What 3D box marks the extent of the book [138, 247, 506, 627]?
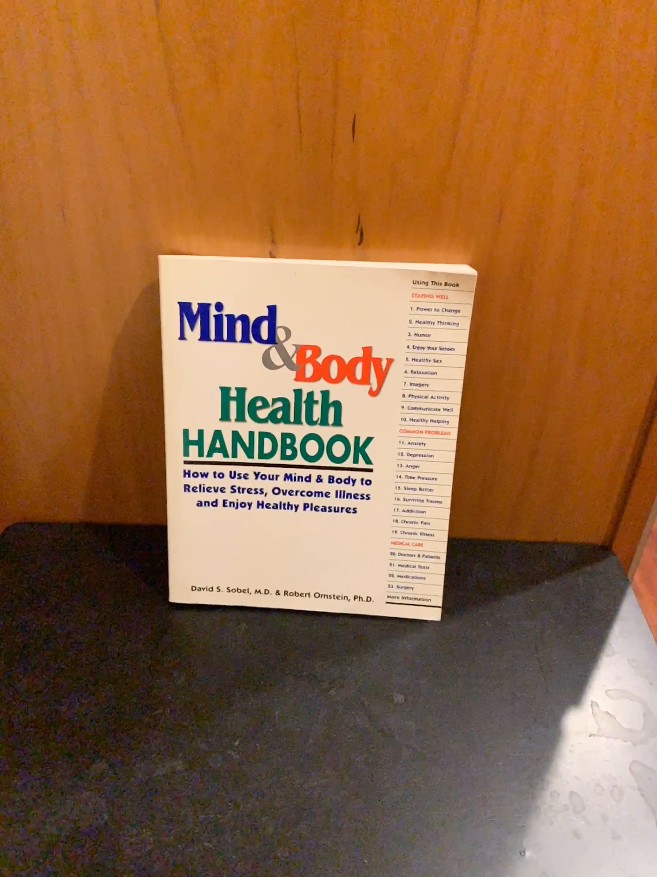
[{"bbox_3d":[-0.009,0.001,0.434,0.210,0.229,0.040,3,15,3],"label":"book"}]
